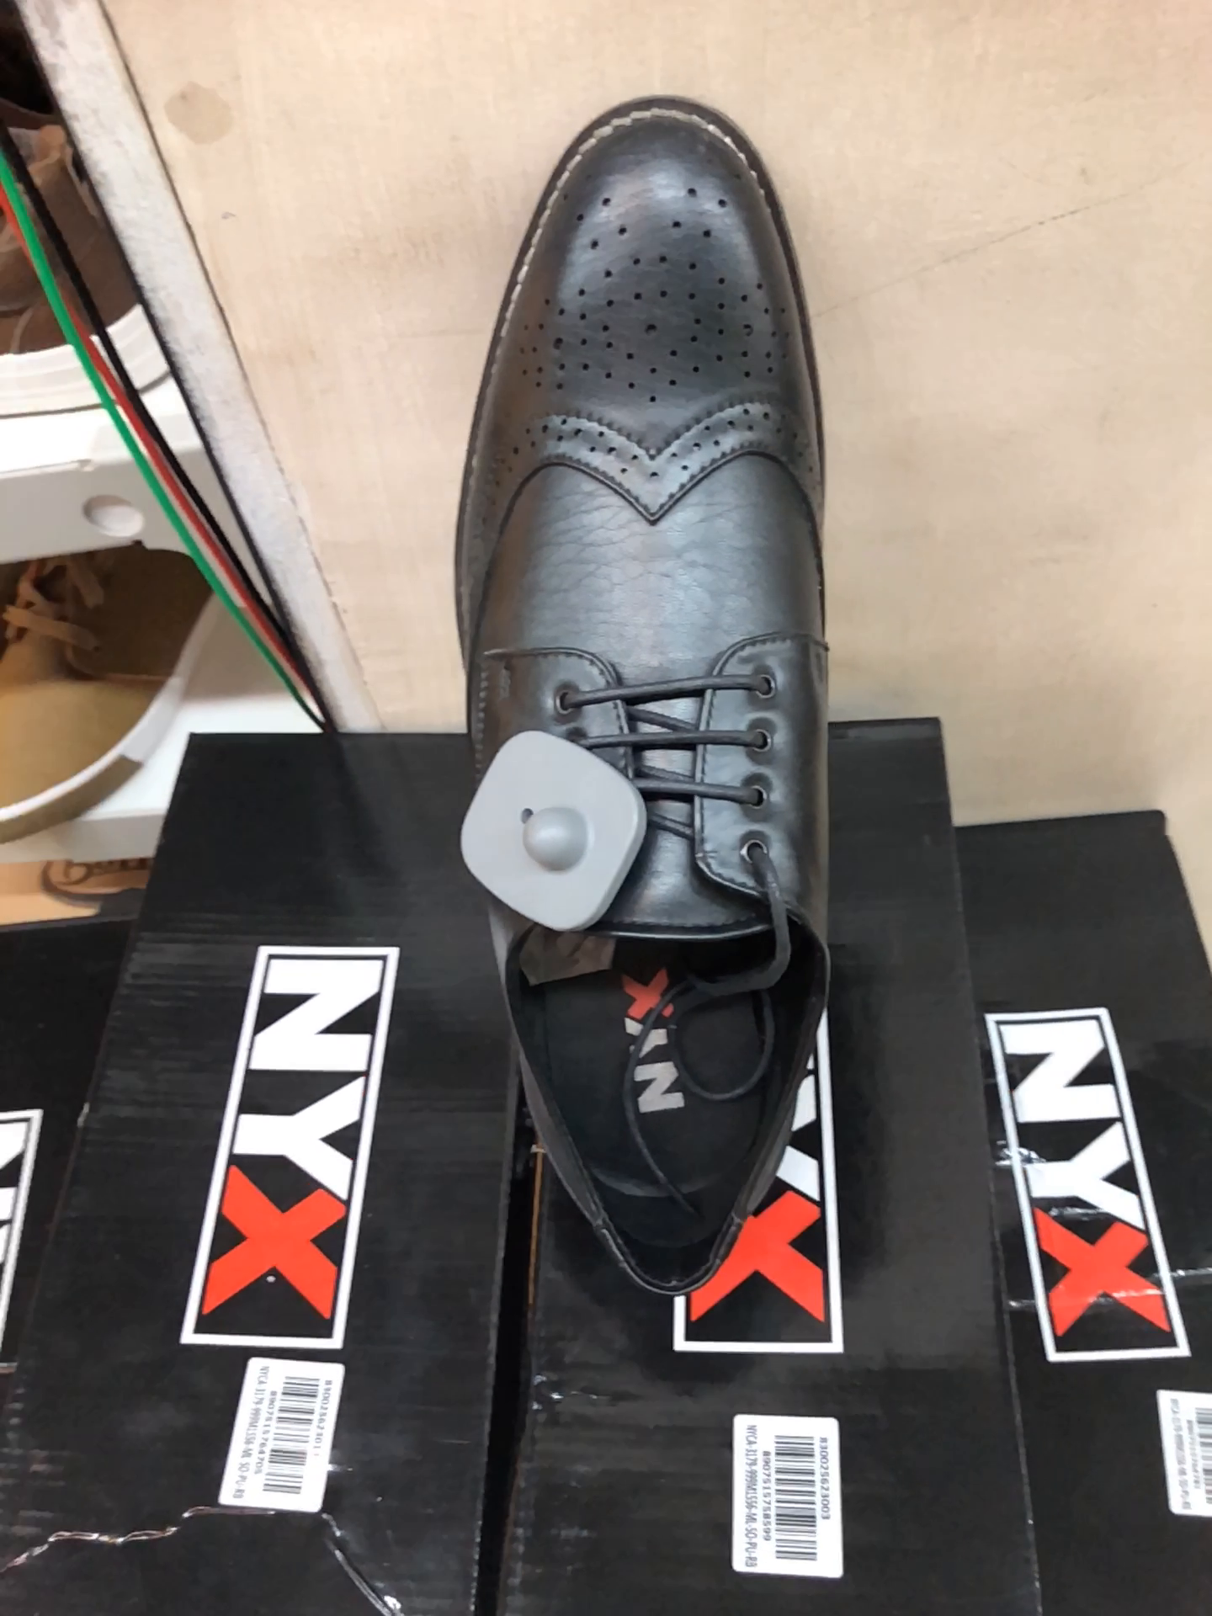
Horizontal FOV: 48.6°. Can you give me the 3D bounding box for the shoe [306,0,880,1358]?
[{"bbox_3d":[0.005,-0.024,0.338,0.106,0.296,0.107,-2,15,3],"label":"shoe"}]
